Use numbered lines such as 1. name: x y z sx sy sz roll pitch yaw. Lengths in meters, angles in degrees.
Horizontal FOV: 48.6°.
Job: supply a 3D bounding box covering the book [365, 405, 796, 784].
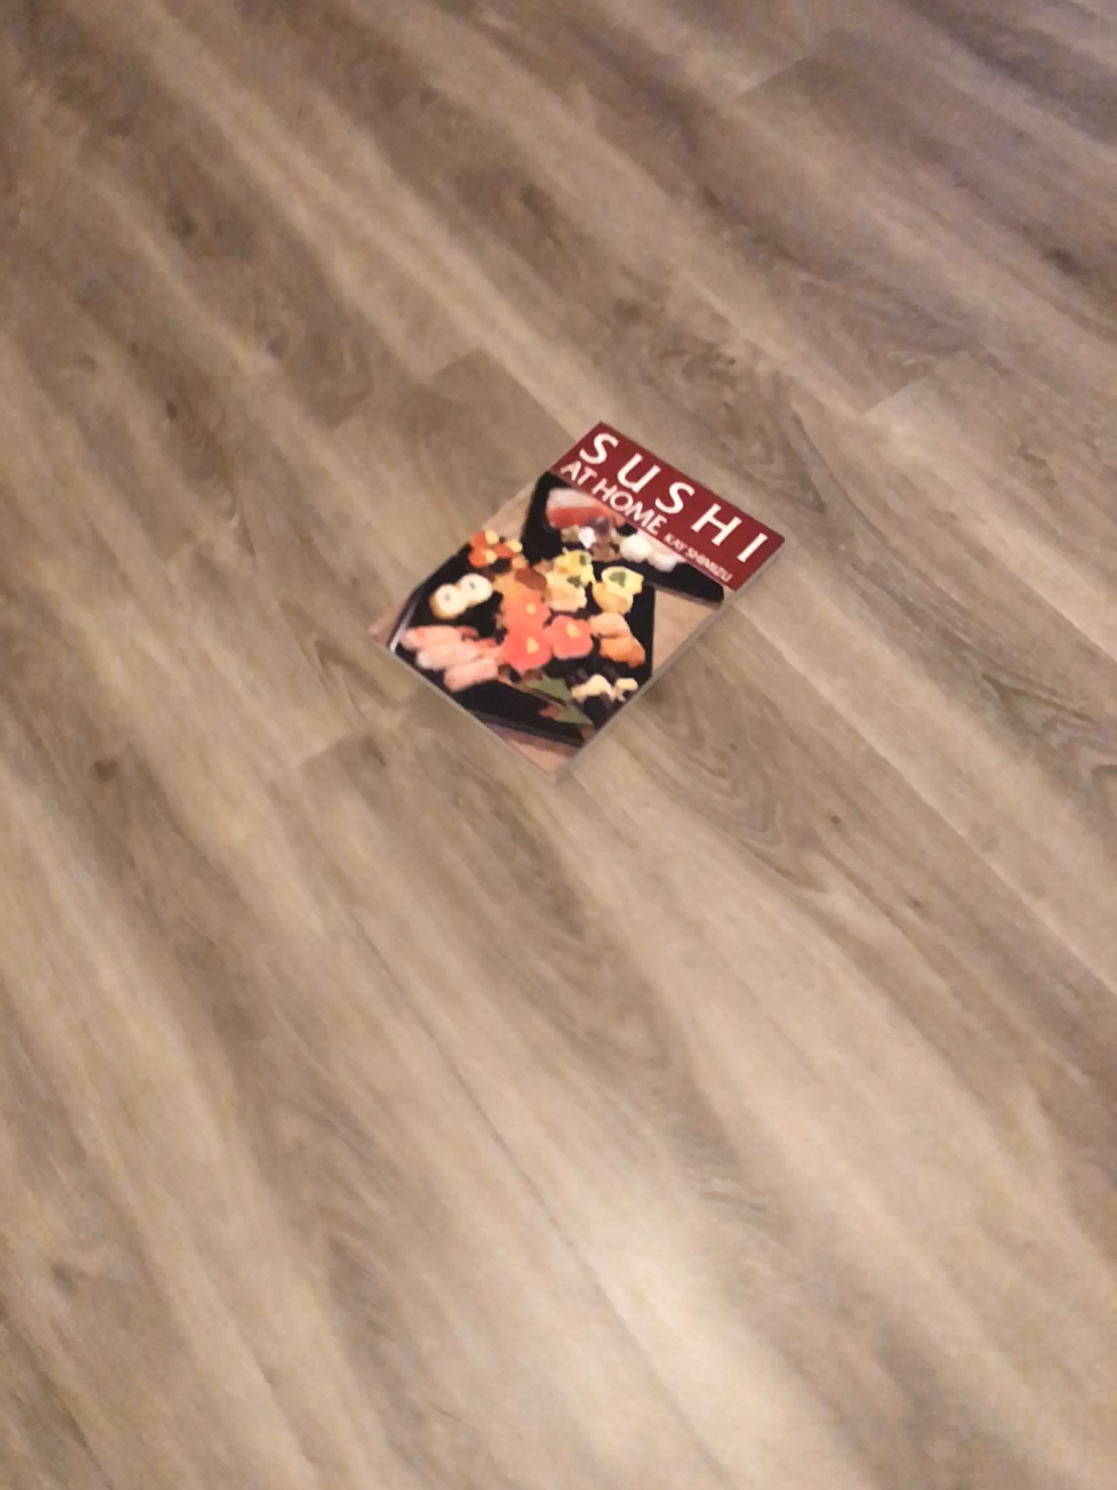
1. book: 0.018 -0.121 0.913 0.190 0.030 0.258 37 70 22
